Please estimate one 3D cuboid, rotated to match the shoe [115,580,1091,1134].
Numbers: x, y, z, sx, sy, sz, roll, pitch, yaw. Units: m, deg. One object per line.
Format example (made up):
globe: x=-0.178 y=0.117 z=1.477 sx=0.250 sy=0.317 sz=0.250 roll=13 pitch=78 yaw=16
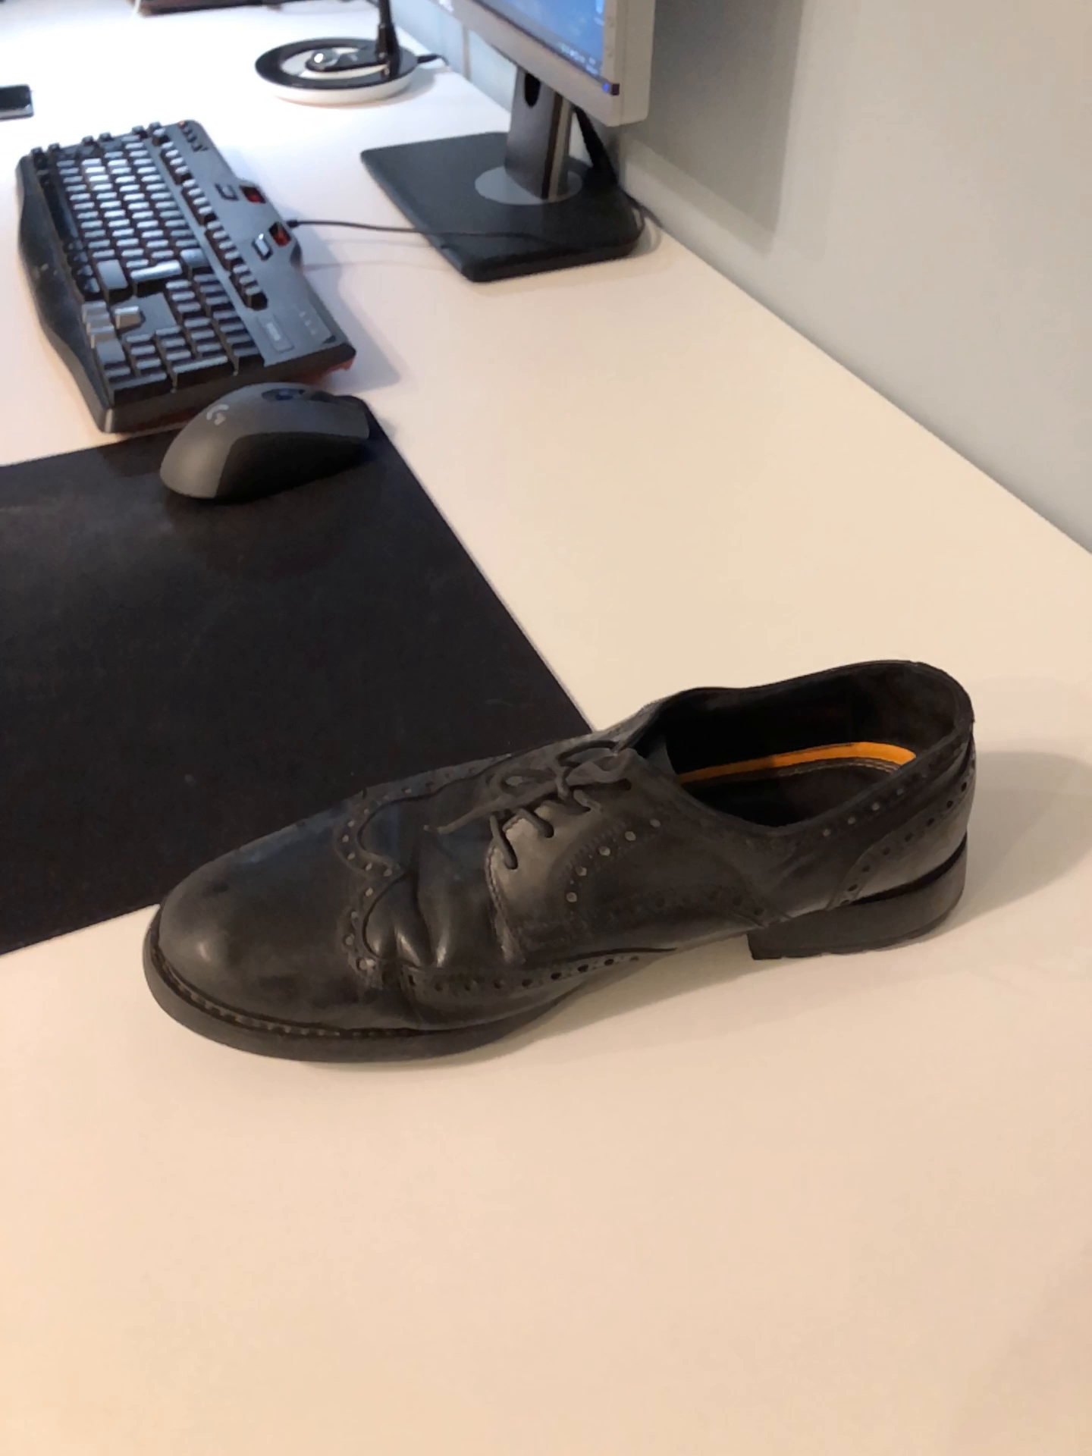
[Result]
shoe: x=0.015 y=0.038 z=0.439 sx=0.313 sy=0.079 sz=0.120 roll=-10 pitch=45 yaw=-10
